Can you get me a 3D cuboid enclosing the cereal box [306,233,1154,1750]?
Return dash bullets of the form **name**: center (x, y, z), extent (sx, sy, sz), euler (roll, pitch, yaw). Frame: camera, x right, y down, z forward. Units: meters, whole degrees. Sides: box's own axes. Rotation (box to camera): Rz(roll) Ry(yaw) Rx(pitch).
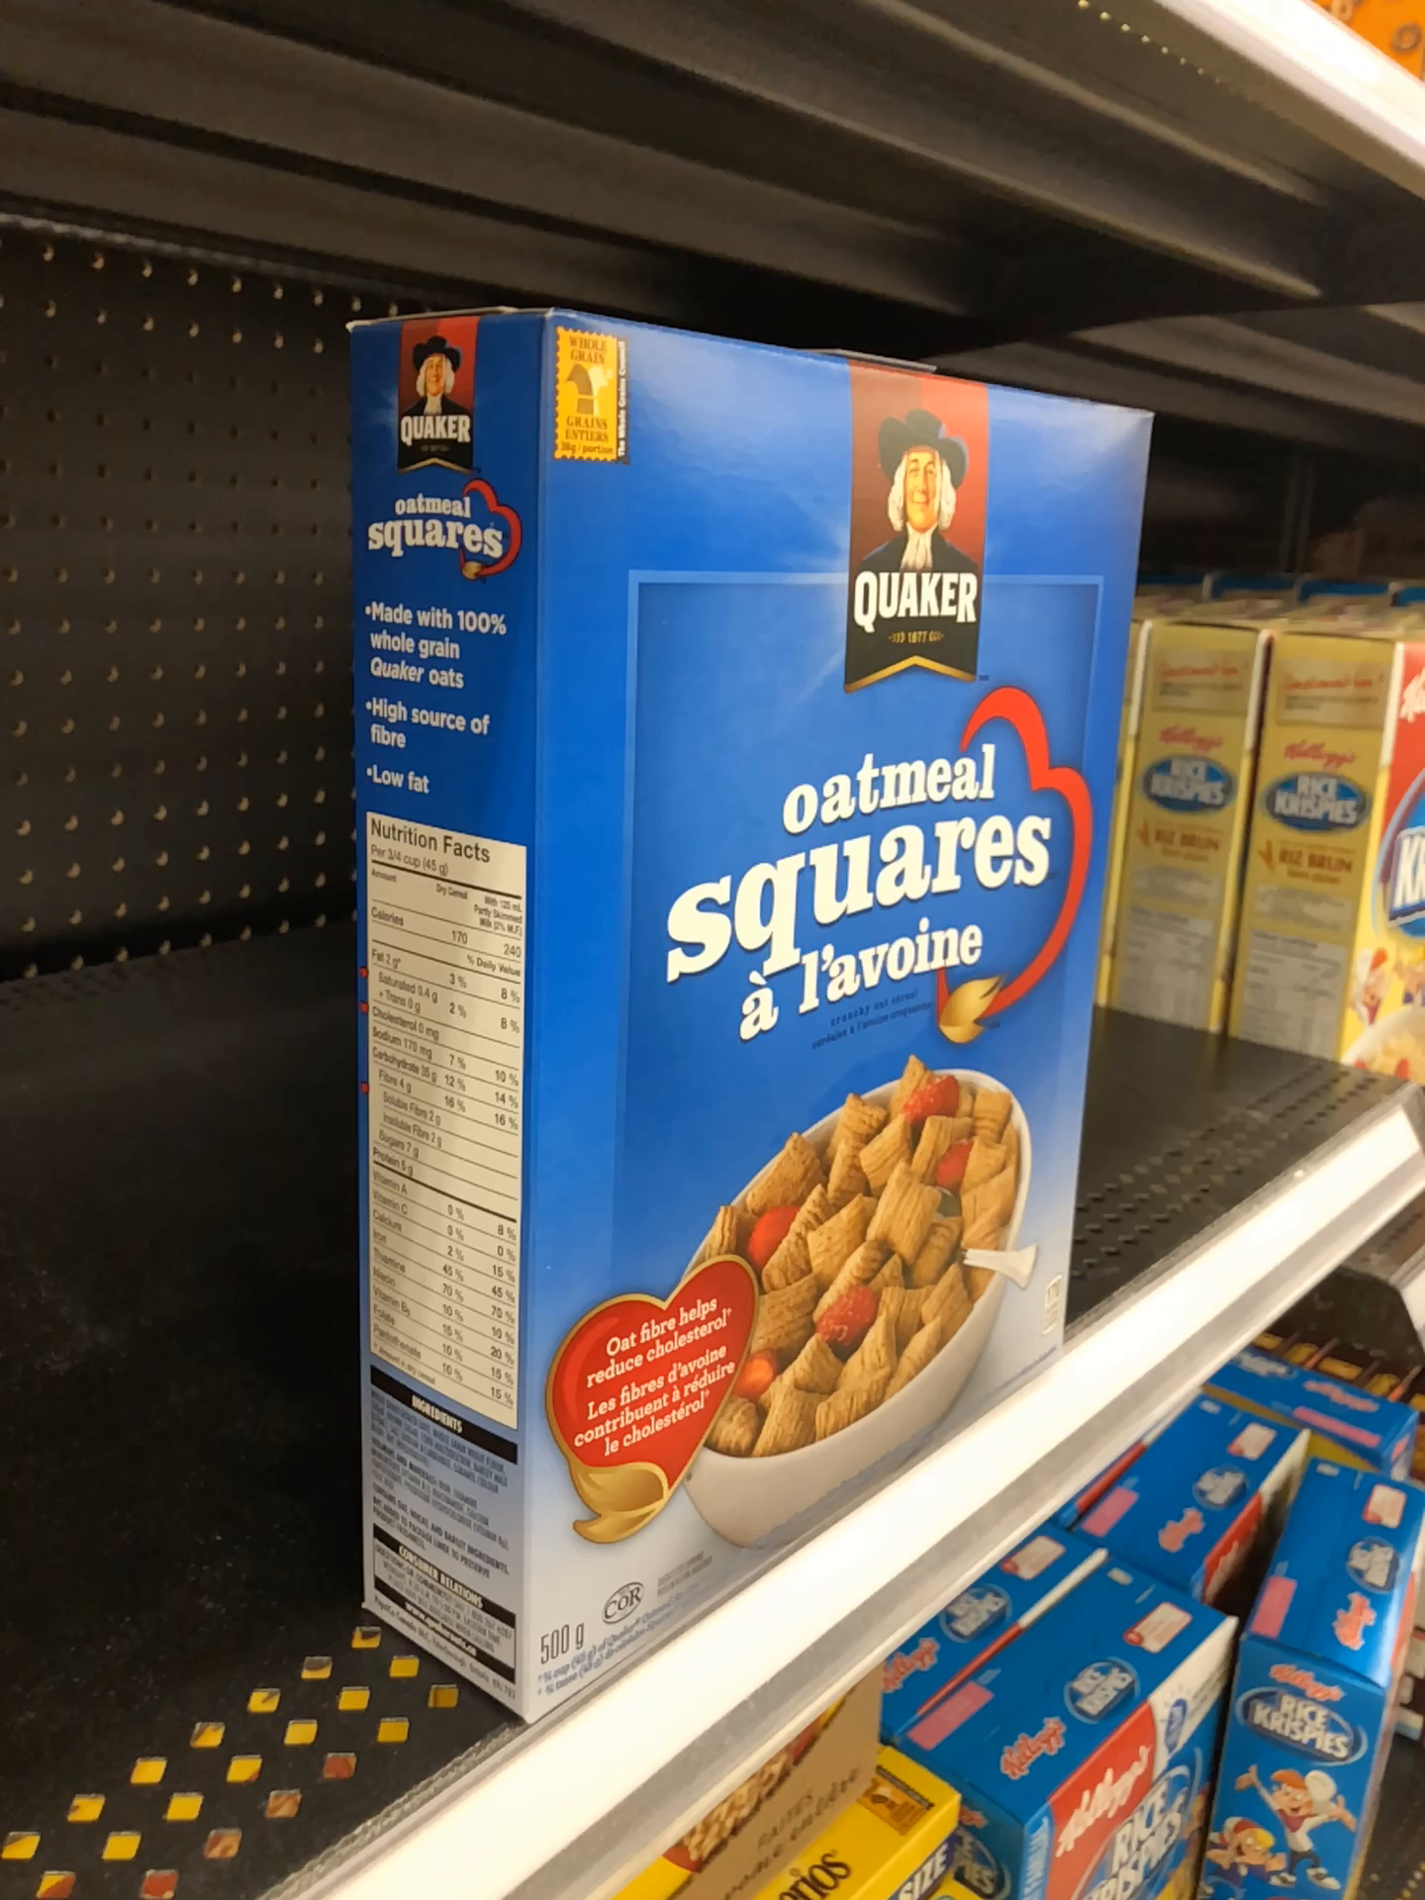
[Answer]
- **cereal box**: center (0.012, -0.001, 0.373), extent (0.060, 0.279, 0.211), euler (16, 20, 37)
